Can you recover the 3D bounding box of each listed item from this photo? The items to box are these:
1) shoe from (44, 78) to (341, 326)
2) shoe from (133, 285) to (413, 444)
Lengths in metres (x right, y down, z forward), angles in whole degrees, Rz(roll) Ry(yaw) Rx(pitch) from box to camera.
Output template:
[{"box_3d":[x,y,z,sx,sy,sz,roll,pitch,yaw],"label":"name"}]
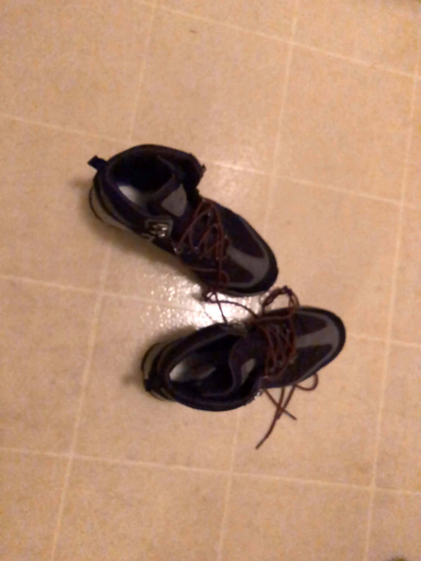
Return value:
[{"box_3d":[-0.029,-0.076,0.611,0.309,0.196,0.126,32,80,-6],"label":"shoe"},{"box_3d":[0.060,0.096,0.609,0.299,0.196,0.116,-9,86,-11],"label":"shoe"}]
